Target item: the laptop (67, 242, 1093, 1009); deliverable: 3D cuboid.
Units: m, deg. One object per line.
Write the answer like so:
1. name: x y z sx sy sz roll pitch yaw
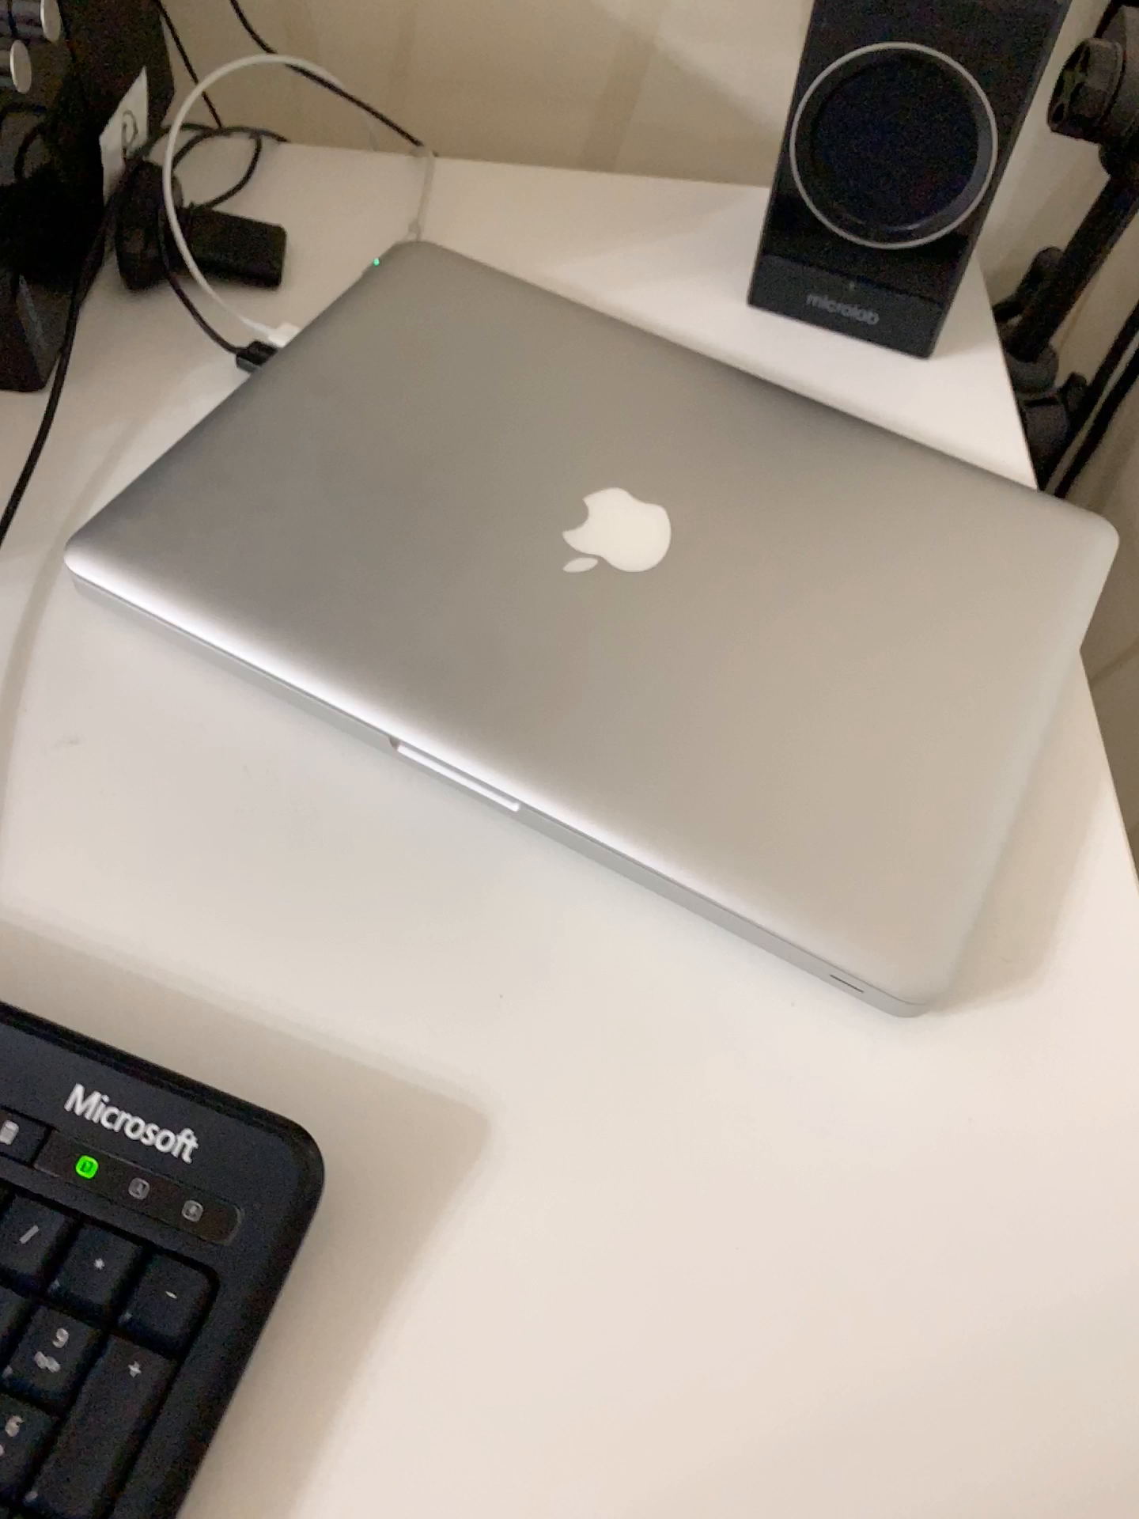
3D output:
1. laptop: 0.015 -0.075 0.428 0.305 0.007 0.218 27 59 11
